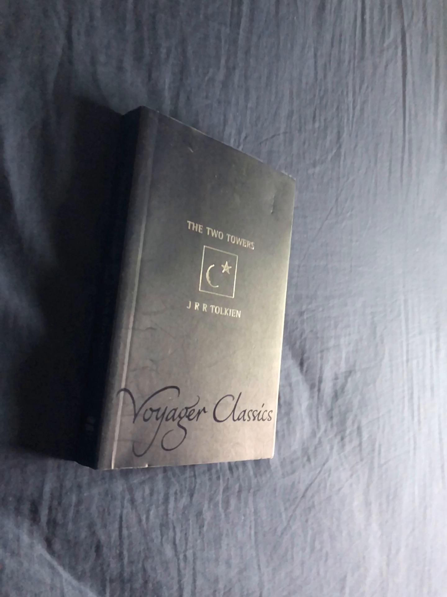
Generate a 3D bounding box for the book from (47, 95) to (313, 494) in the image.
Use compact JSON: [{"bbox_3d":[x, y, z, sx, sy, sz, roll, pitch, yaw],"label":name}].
[{"bbox_3d":[-0.016,0.004,0.303,0.141,0.060,0.190,11,81,-44],"label":"book"}]
